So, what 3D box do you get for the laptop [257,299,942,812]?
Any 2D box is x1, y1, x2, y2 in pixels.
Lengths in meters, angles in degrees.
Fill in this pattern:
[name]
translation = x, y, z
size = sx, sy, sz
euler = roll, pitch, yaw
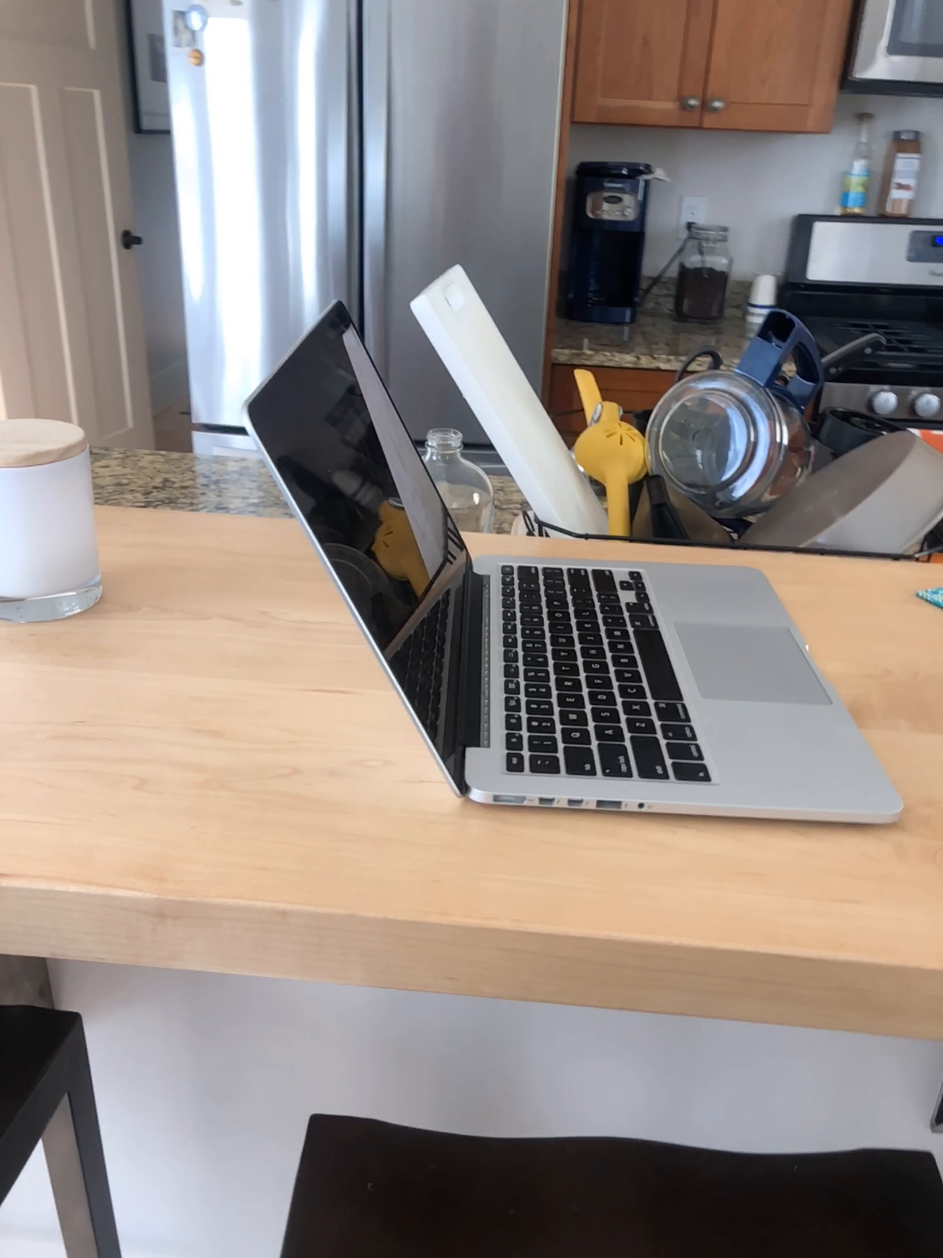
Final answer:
[laptop]
translation = 0.067, -0.072, 0.633
size = 0.322, 0.188, 0.324
euler = 3, 26, 1
